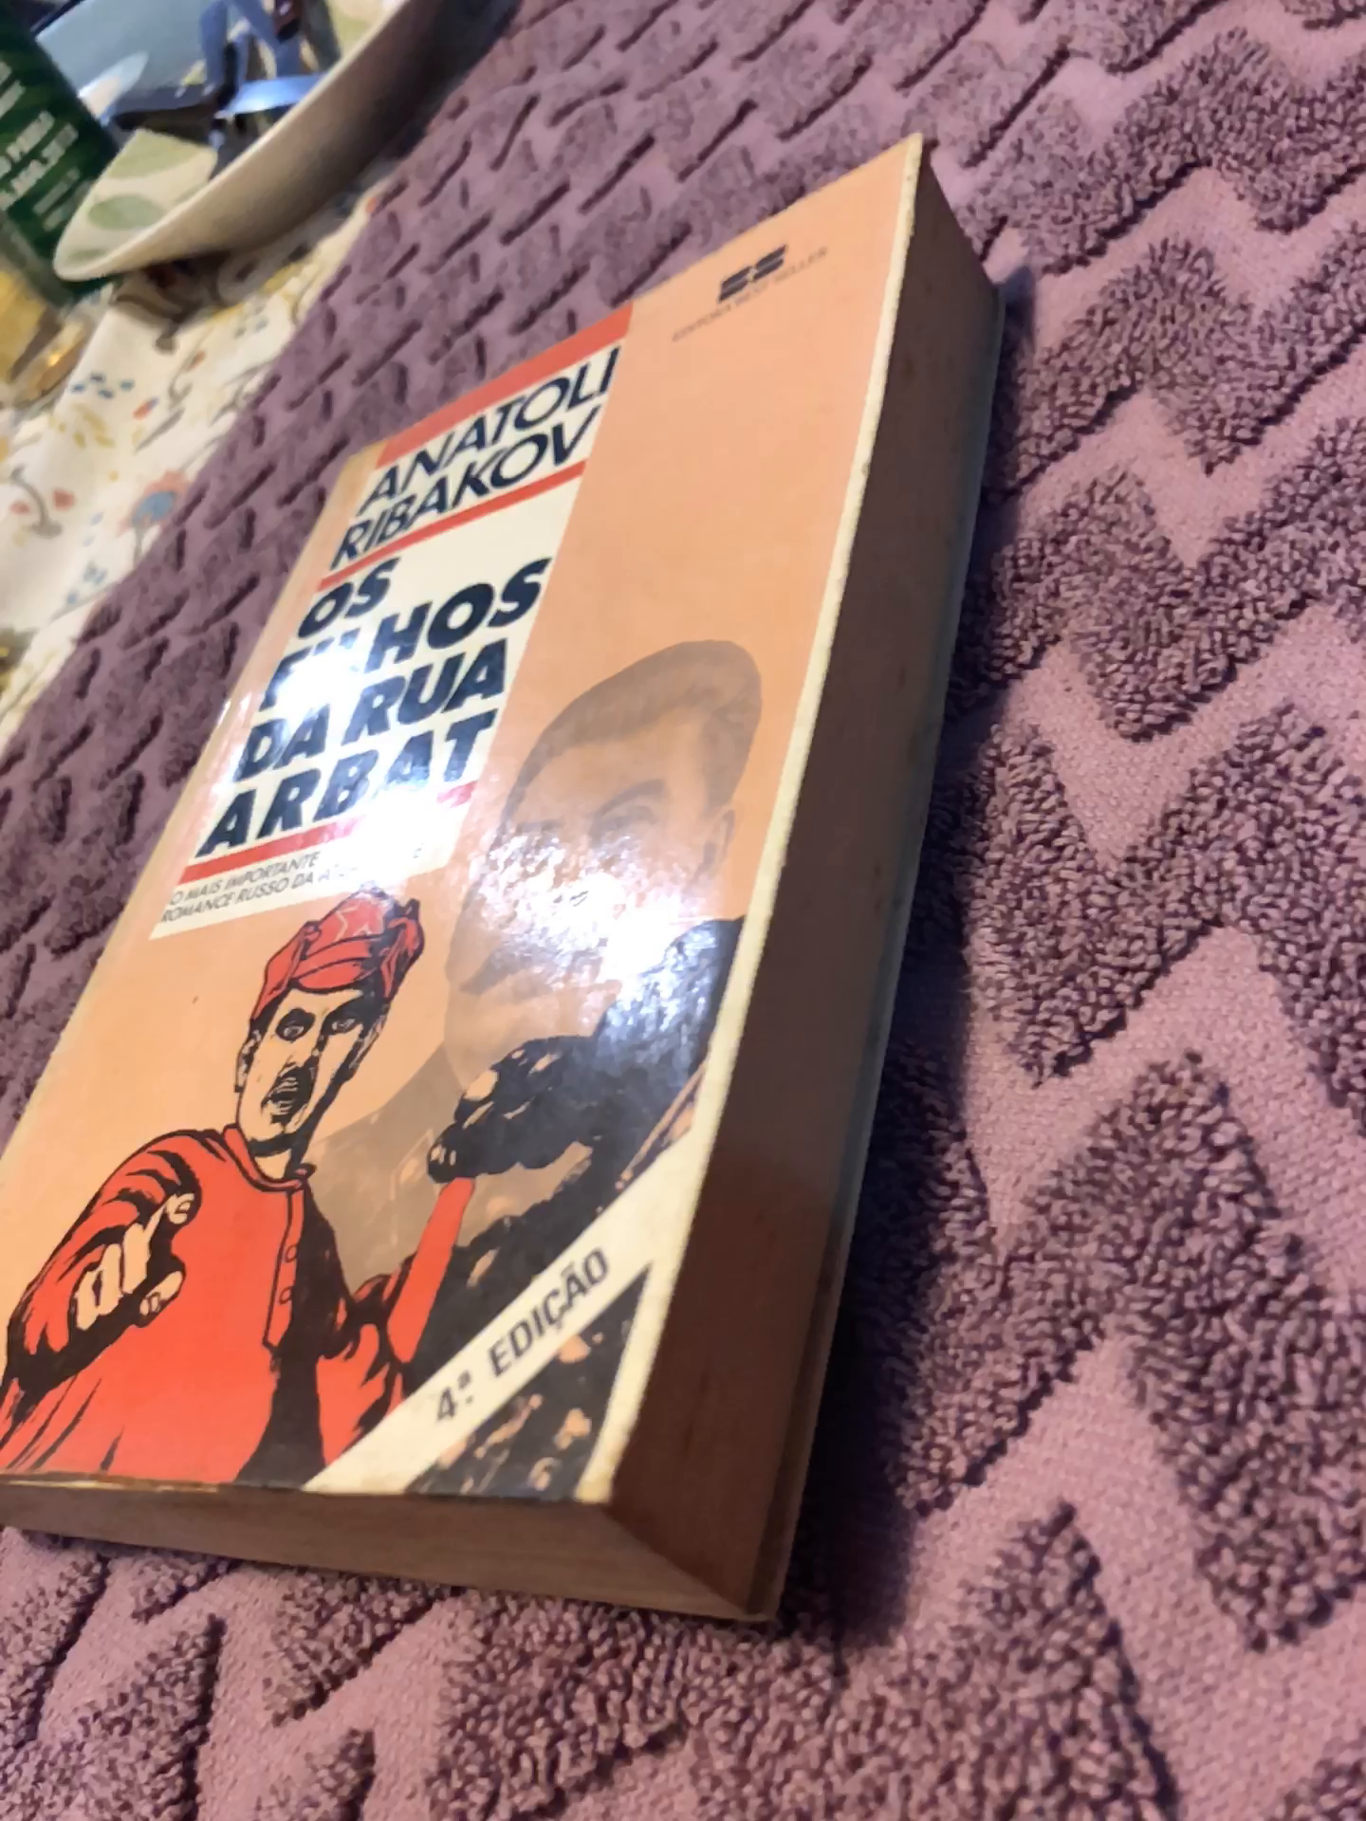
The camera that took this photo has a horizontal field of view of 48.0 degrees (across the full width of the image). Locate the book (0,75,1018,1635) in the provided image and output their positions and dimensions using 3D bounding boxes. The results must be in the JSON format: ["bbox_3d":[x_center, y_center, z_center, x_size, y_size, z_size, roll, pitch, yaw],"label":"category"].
[{"bbox_3d":[-0.032,-0.012,0.215,0.140,0.040,0.191,-13,51,35],"label":"book"}]
